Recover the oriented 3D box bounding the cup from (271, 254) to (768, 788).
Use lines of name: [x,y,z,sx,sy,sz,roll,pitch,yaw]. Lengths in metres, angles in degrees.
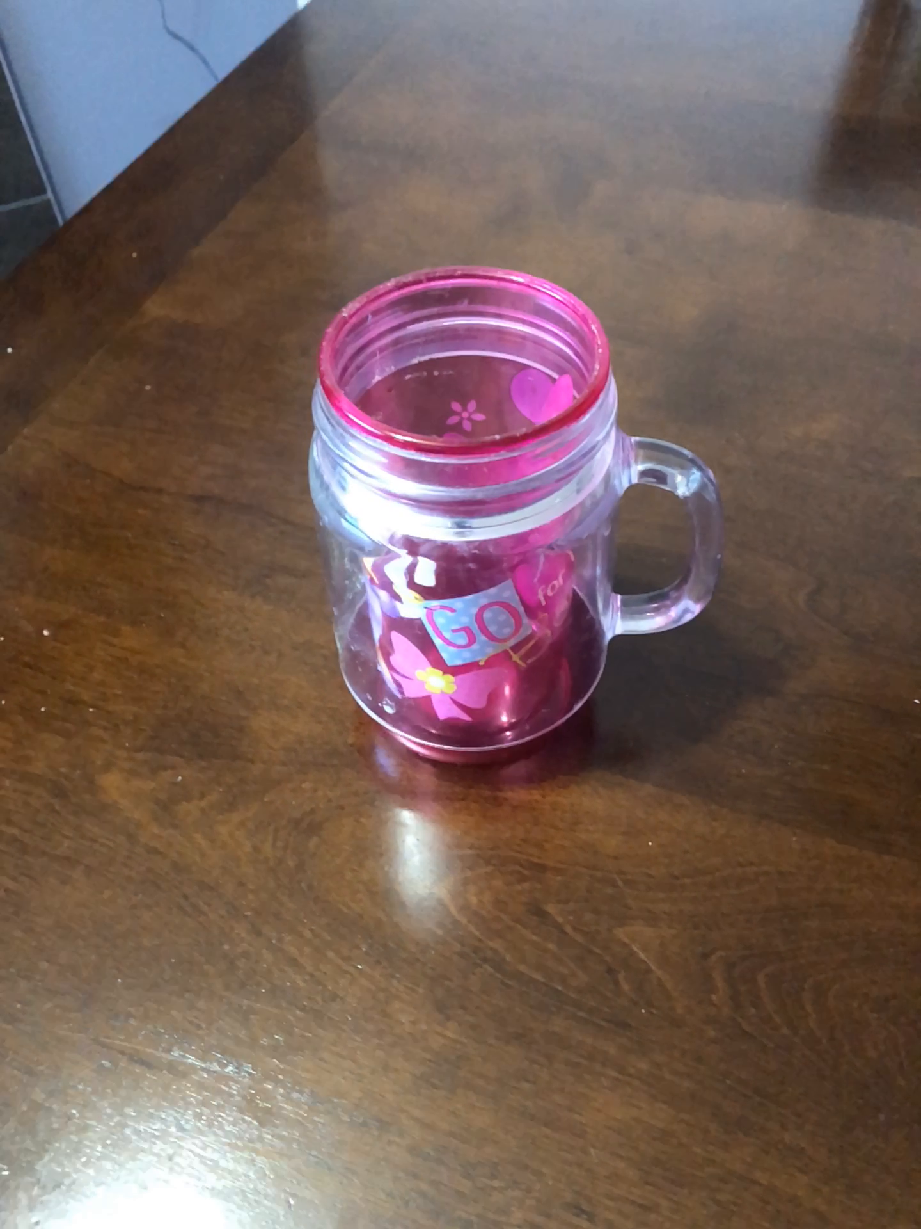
cup: [0.016,-0.021,0.335,0.120,0.160,0.080,-2,50,1]
